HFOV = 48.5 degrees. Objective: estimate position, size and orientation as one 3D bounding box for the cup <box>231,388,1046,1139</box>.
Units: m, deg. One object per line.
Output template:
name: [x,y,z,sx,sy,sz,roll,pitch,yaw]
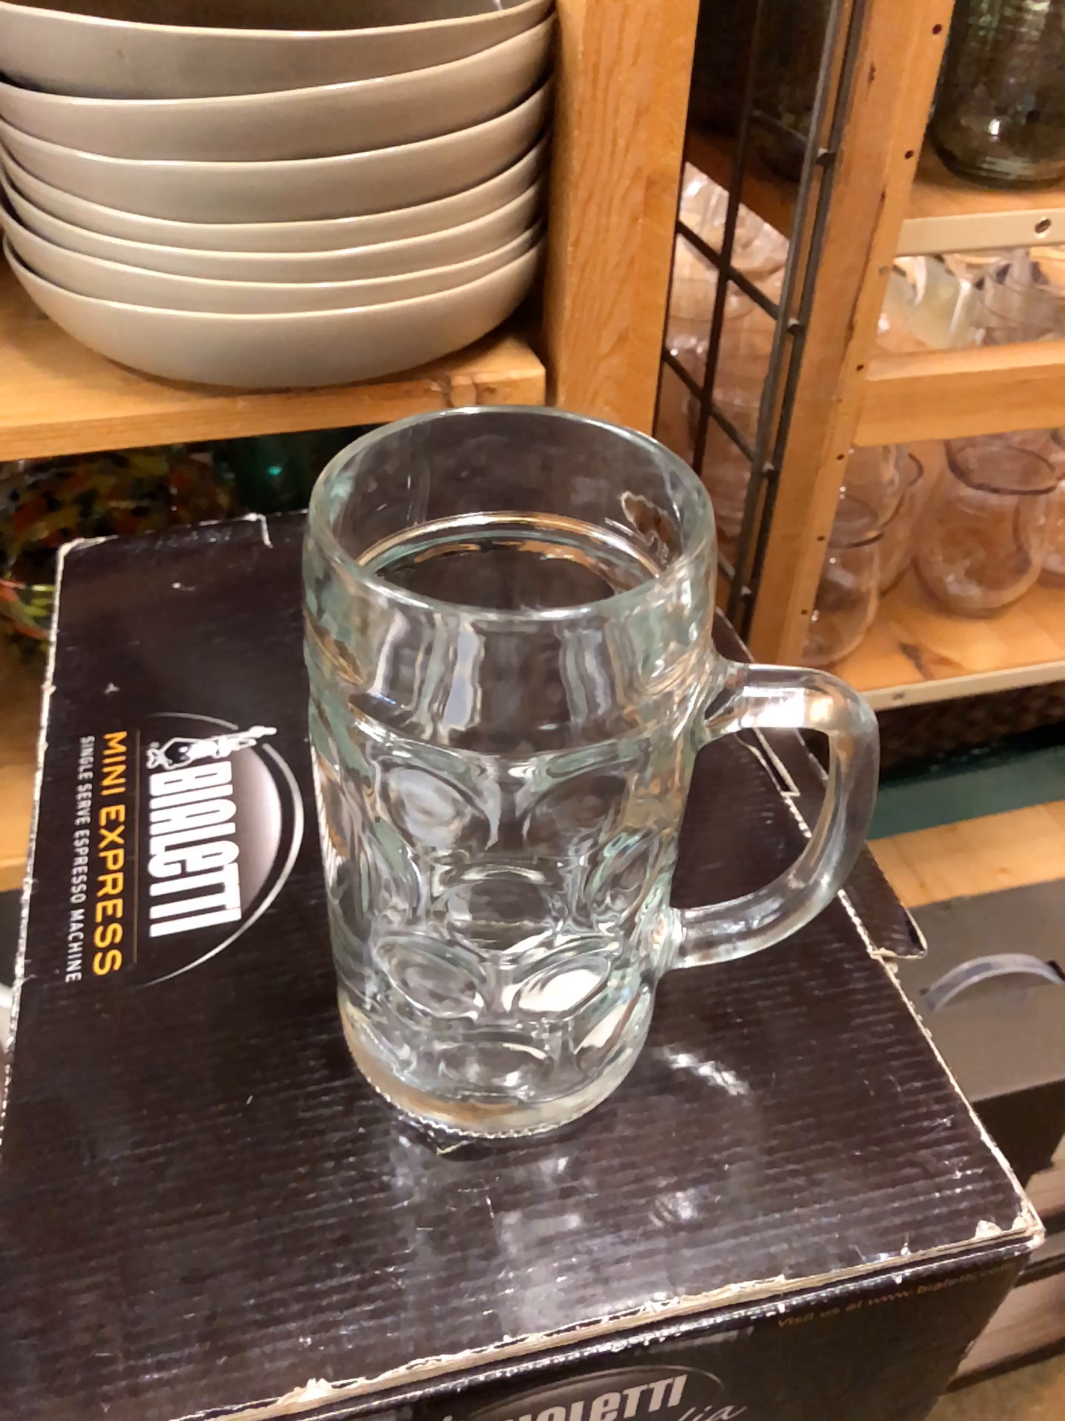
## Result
cup: [0.014,0.014,0.268,0.129,0.136,0.100,0,40,-3]
